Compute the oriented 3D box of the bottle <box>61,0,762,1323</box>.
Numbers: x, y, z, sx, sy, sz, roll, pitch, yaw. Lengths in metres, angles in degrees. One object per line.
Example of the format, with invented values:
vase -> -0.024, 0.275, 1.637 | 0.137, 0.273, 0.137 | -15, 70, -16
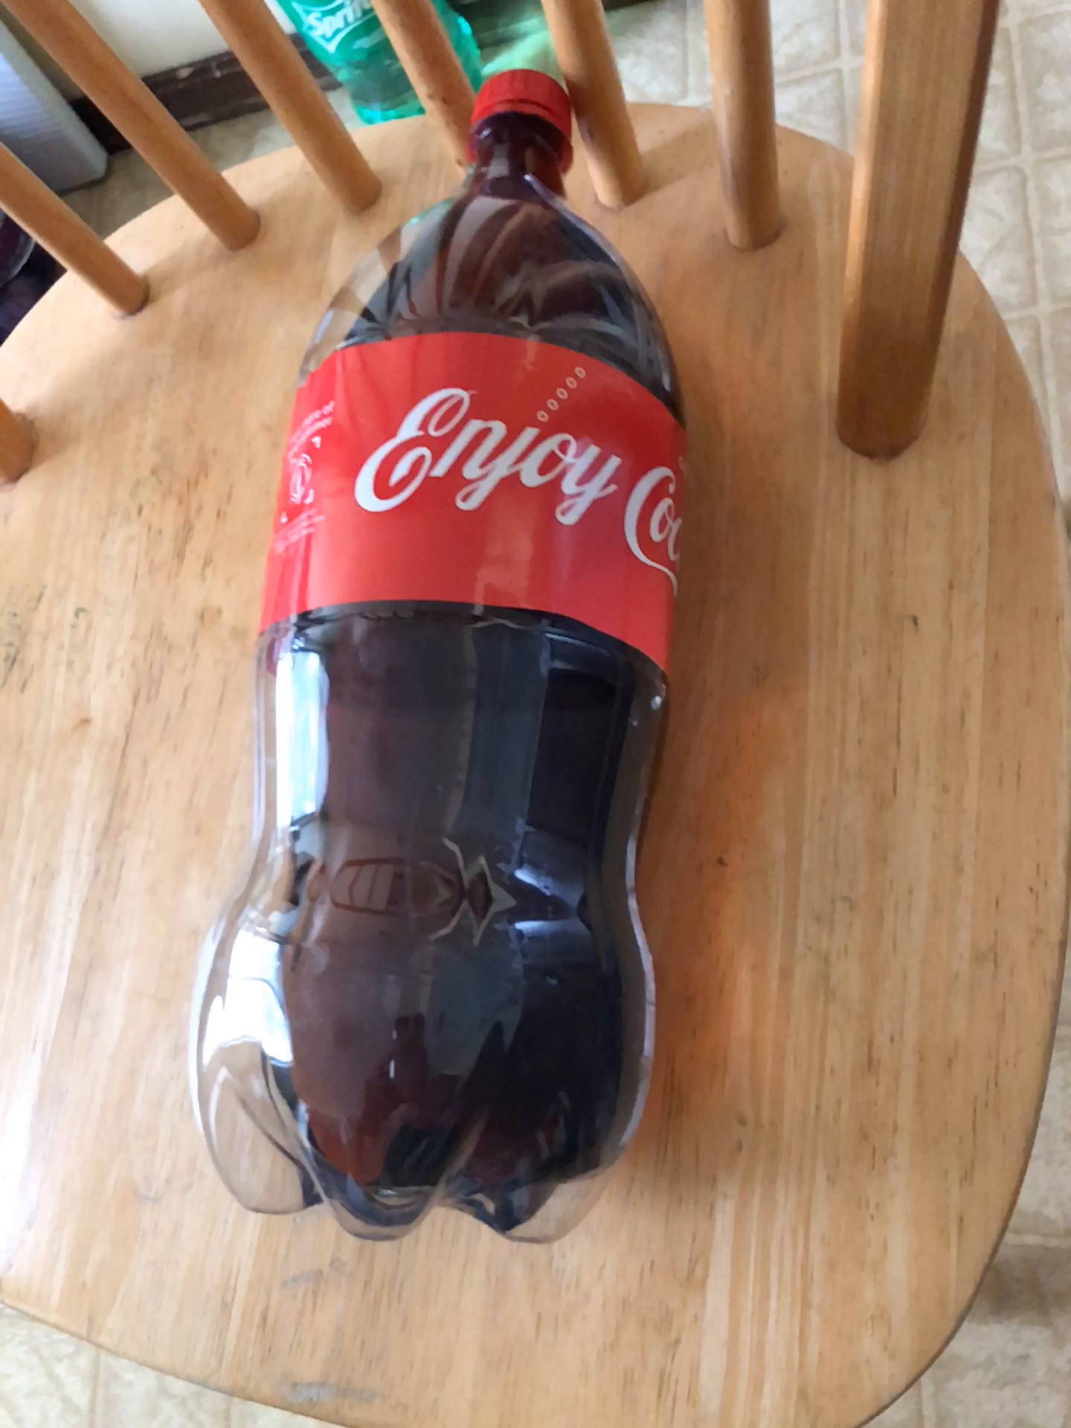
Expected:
bottle -> -0.024, -0.035, 0.308 | 0.100, 0.120, 0.320 | -16, 67, 55
